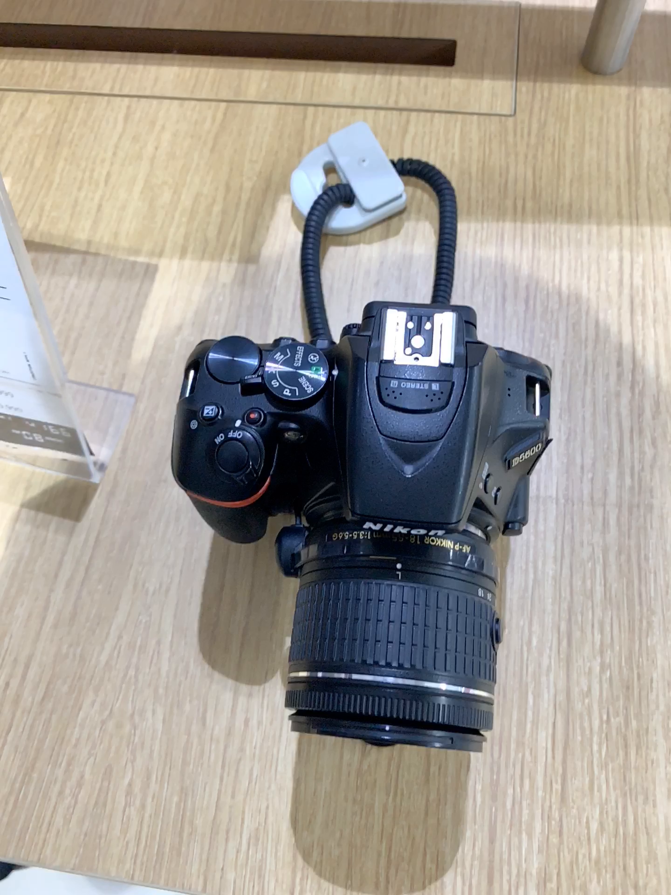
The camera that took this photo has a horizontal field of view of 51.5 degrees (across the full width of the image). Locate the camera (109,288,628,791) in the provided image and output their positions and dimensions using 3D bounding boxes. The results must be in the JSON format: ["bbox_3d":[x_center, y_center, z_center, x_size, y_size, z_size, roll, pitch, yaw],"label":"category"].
[{"bbox_3d":[0.012,0.028,0.207,0.110,0.080,0.120,3,67,4],"label":"camera"}]
